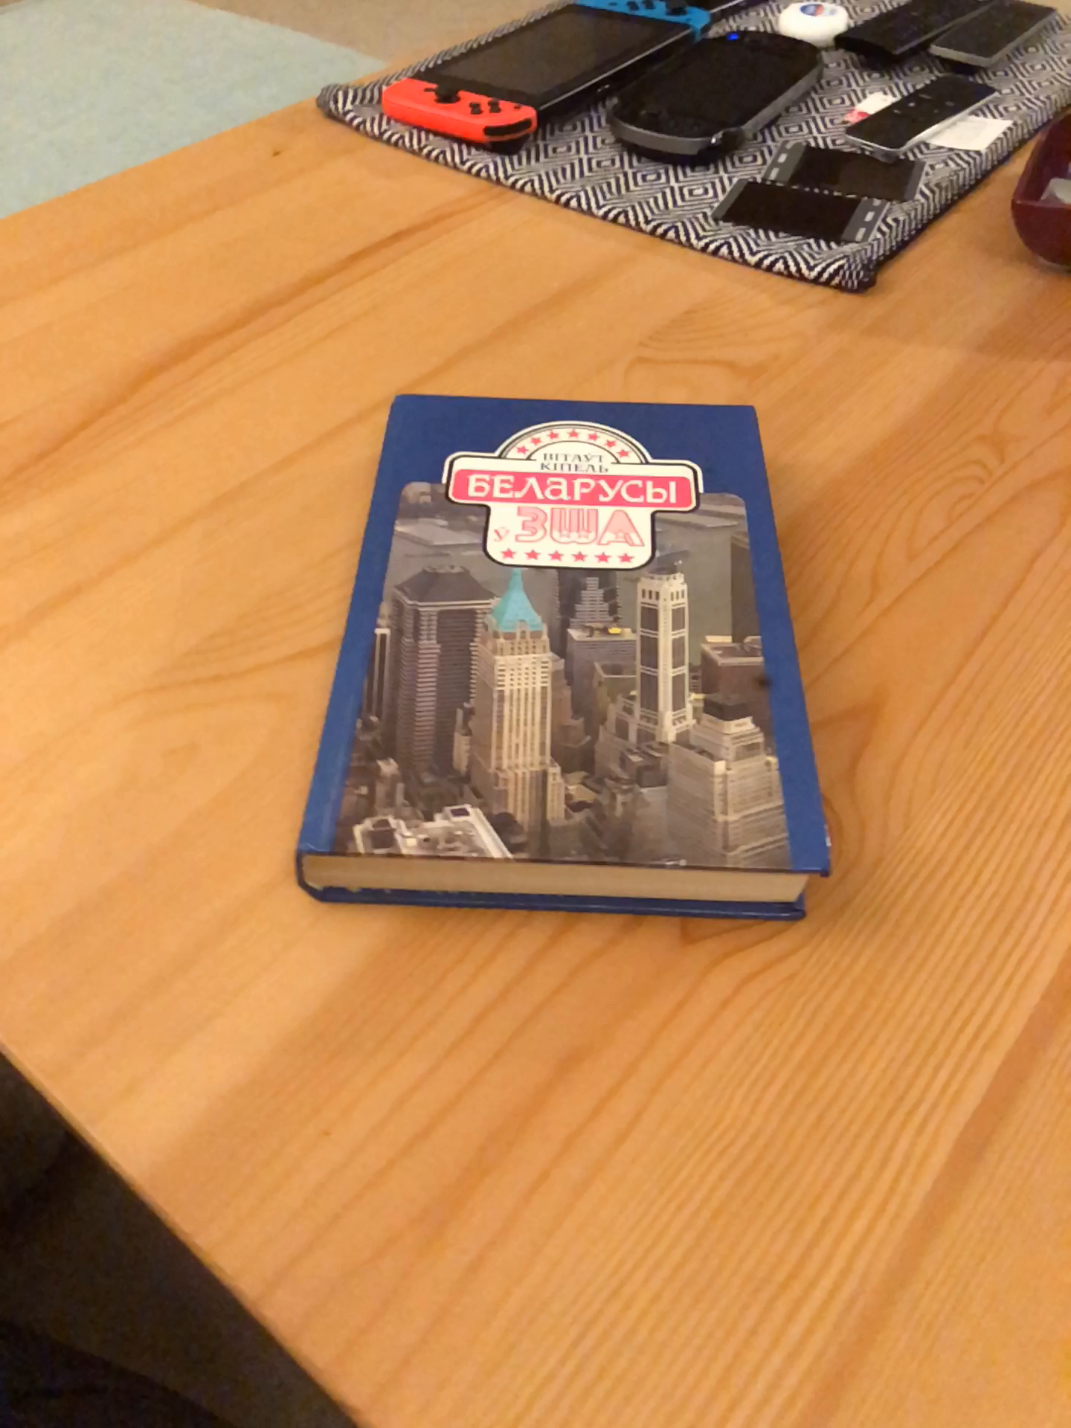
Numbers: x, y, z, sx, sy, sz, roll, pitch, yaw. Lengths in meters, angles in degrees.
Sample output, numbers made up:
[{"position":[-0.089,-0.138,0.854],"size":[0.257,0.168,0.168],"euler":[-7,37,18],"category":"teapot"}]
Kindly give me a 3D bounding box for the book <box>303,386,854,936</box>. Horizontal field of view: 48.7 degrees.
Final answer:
[{"position":[0.016,-0.033,0.400],"size":[0.146,0.030,0.225],"euler":[2,48,1],"category":"book"}]
